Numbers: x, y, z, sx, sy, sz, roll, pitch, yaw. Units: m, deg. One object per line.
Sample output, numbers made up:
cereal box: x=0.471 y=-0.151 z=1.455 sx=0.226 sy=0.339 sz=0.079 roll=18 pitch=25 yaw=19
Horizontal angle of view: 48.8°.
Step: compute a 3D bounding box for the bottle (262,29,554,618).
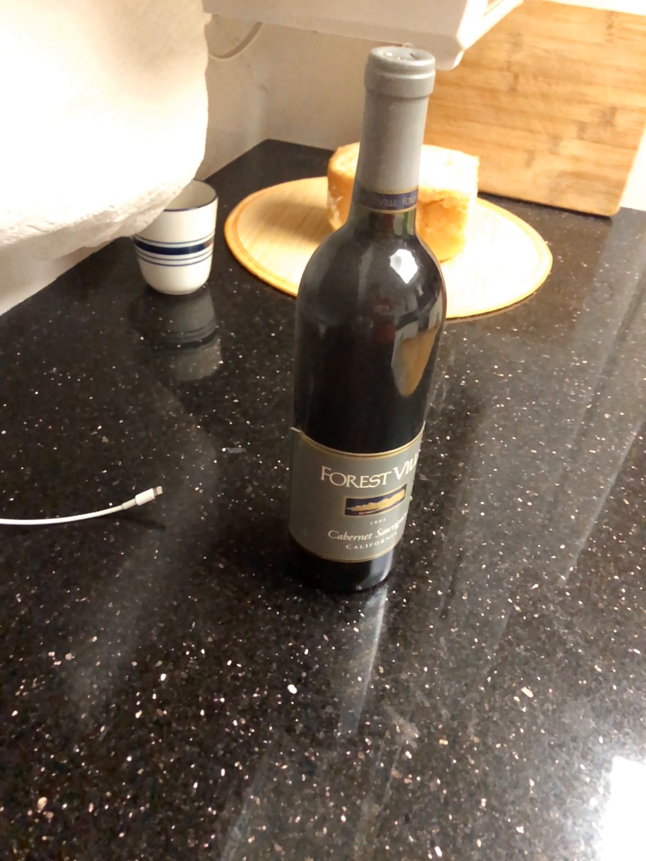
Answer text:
bottle: x=0.023 y=-0.037 z=0.382 sx=0.080 sy=0.298 sz=0.090 roll=-12 pitch=42 yaw=-20
